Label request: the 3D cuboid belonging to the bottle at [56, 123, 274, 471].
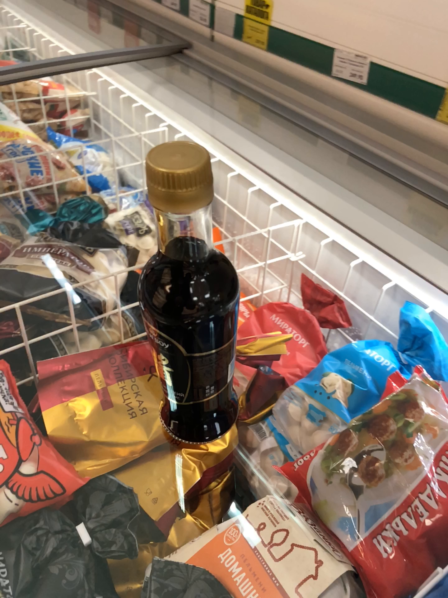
[{"bbox_3d":[-0.033,0.007,0.284,0.070,0.179,0.070,3,41,-3],"label":"bottle"}]
